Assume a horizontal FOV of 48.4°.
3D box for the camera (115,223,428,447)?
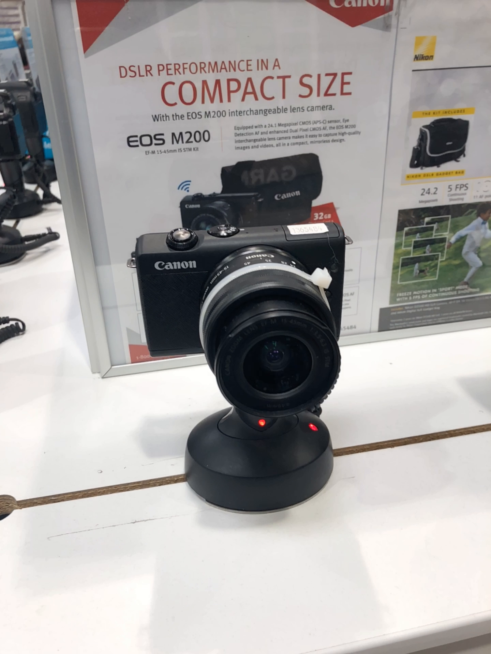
[{"bbox_3d":[0.004,-0.006,0.271,0.120,0.050,0.120,-5,27,-6],"label":"camera"}]
